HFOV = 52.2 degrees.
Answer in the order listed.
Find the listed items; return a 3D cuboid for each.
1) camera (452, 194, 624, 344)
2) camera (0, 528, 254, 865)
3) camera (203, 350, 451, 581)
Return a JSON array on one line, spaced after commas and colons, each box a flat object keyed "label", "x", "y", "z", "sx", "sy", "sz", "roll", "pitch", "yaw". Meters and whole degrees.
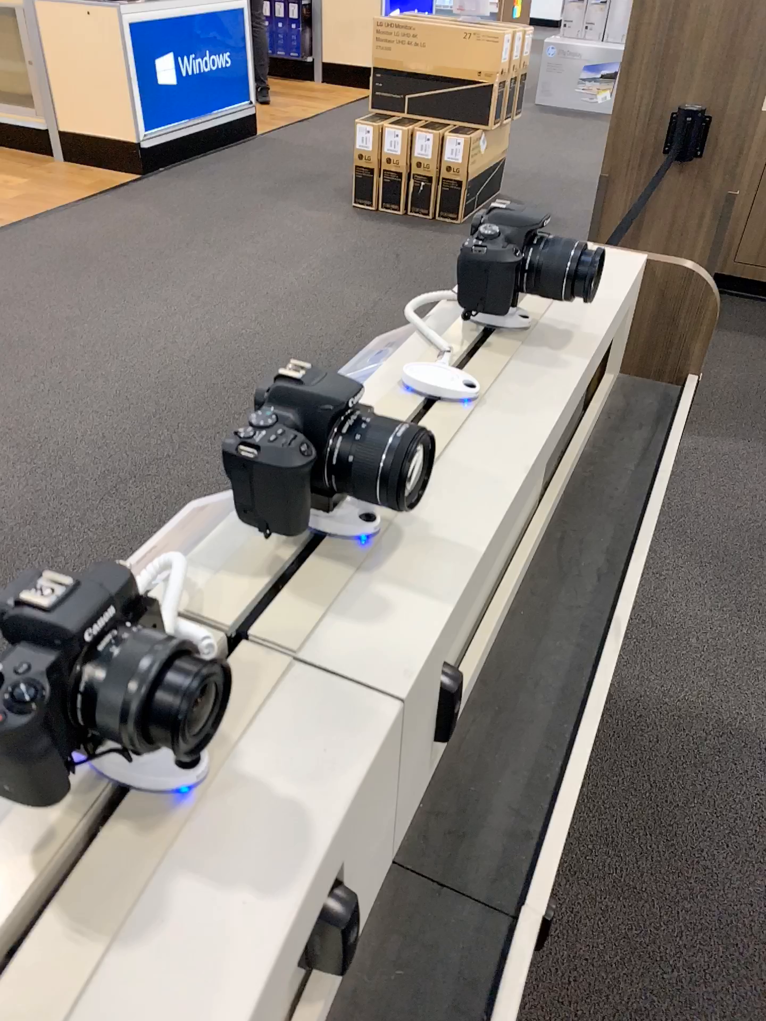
[{"label": "camera", "x": 0.176, "y": -0.279, "z": 0.891, "sx": 0.146, "sy": 0.101, "sz": 0.134, "roll": 18, "pitch": 40, "yaw": 19}, {"label": "camera", "x": -0.145, "y": 0.090, "z": 0.405, "sx": 0.111, "sy": 0.088, "sz": 0.112, "roll": 15, "pitch": 39, "yaw": 15}, {"label": "camera", "x": -0.037, "y": -0.038, "z": 0.572, "sx": 0.135, "sy": 0.089, "sz": 0.122, "roll": 15, "pitch": 39, "yaw": 15}]
